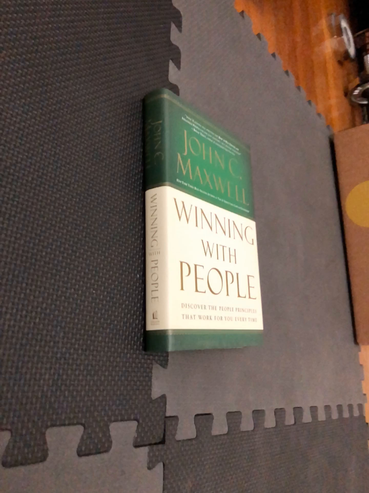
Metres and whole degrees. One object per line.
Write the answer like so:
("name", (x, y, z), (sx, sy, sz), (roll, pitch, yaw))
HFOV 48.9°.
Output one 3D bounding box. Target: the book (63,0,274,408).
("book", (0.003, -0.033, 0.335), (0.201, 0.030, 0.290), (18, 65, -49))
